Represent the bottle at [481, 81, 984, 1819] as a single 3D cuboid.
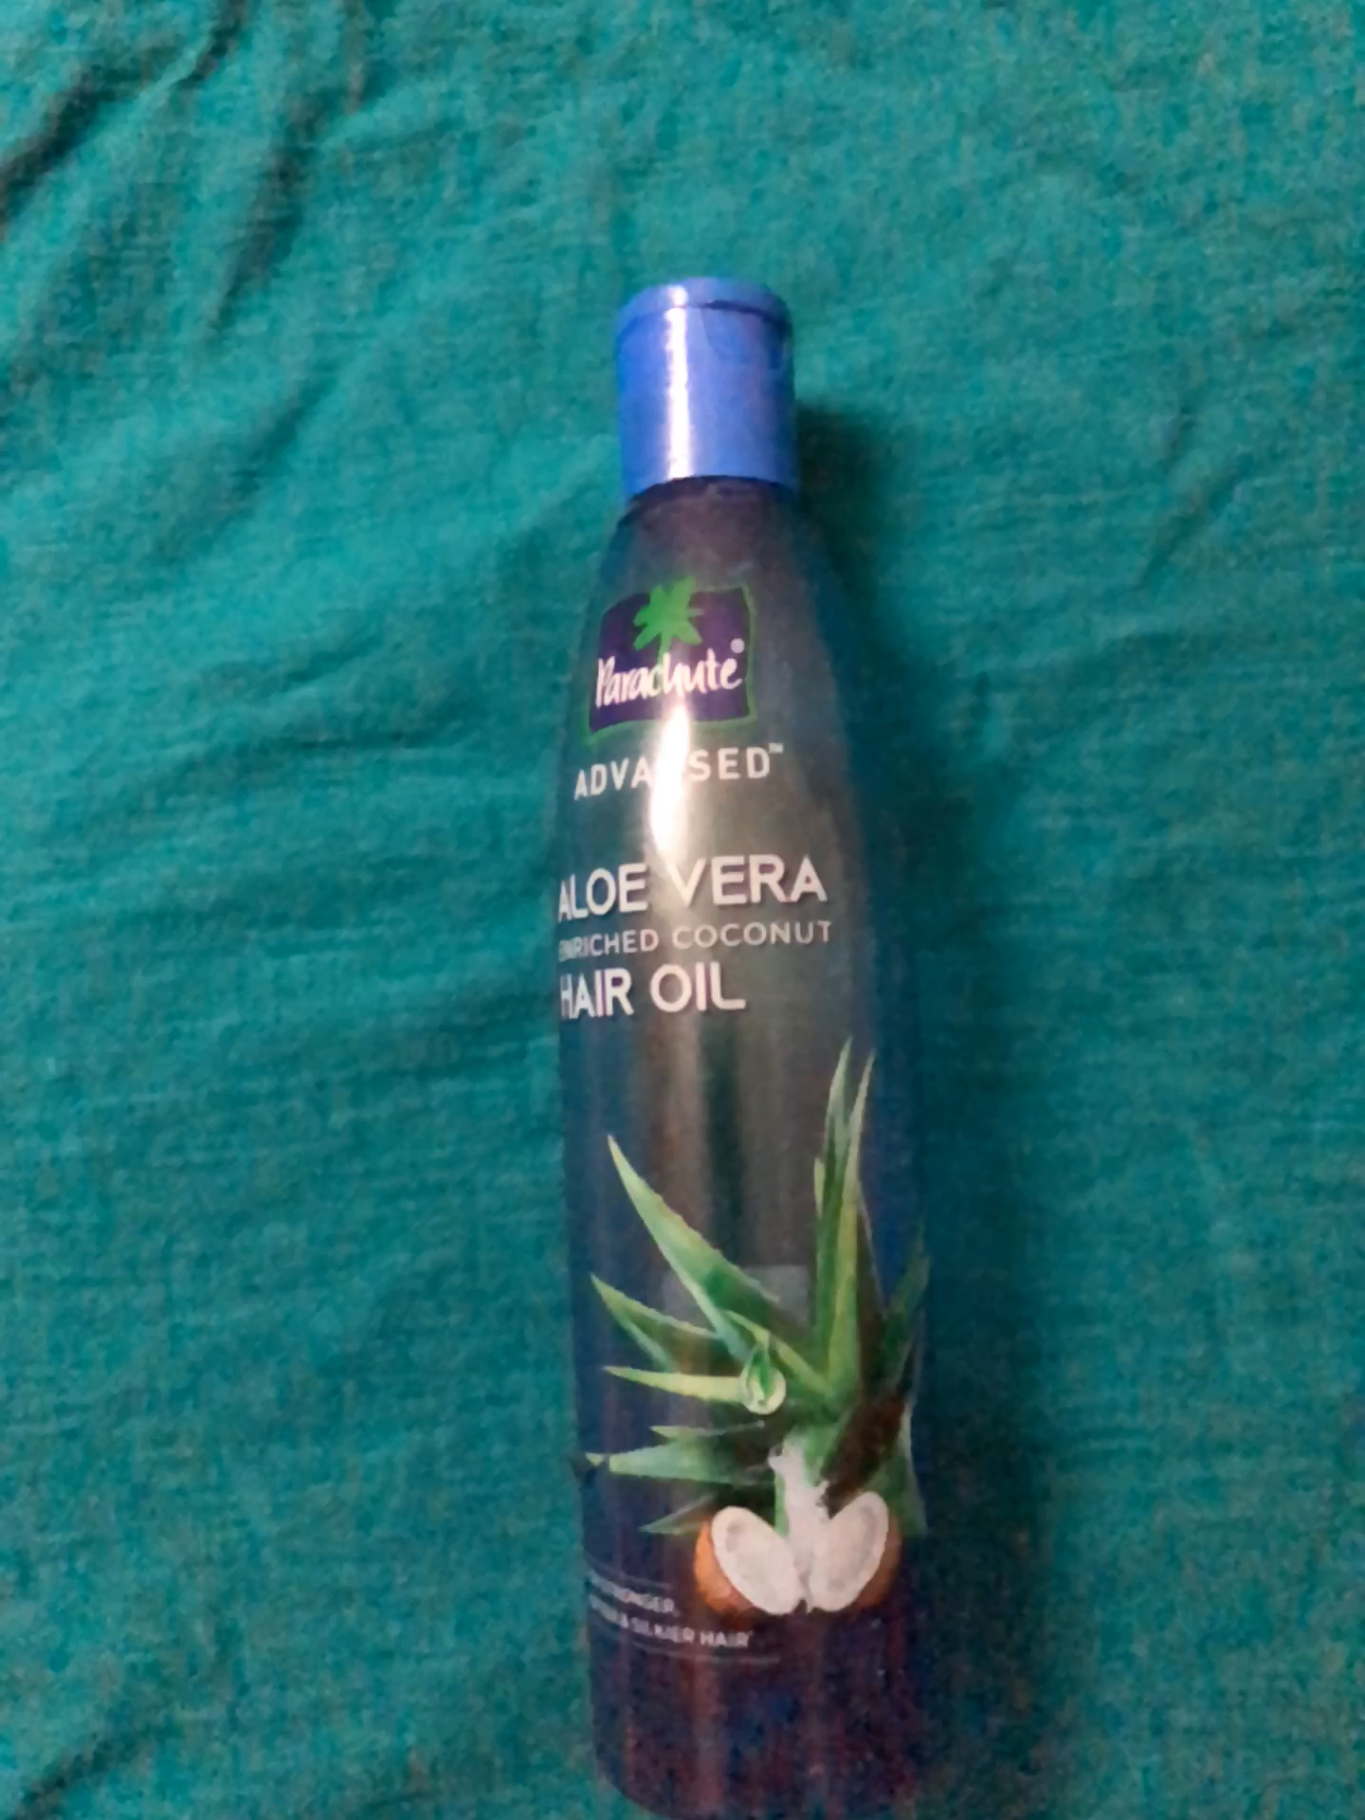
[{"bbox_3d":[0.006,0.008,0.199,0.050,0.040,0.210,-4,83,19],"label":"bottle"}]
